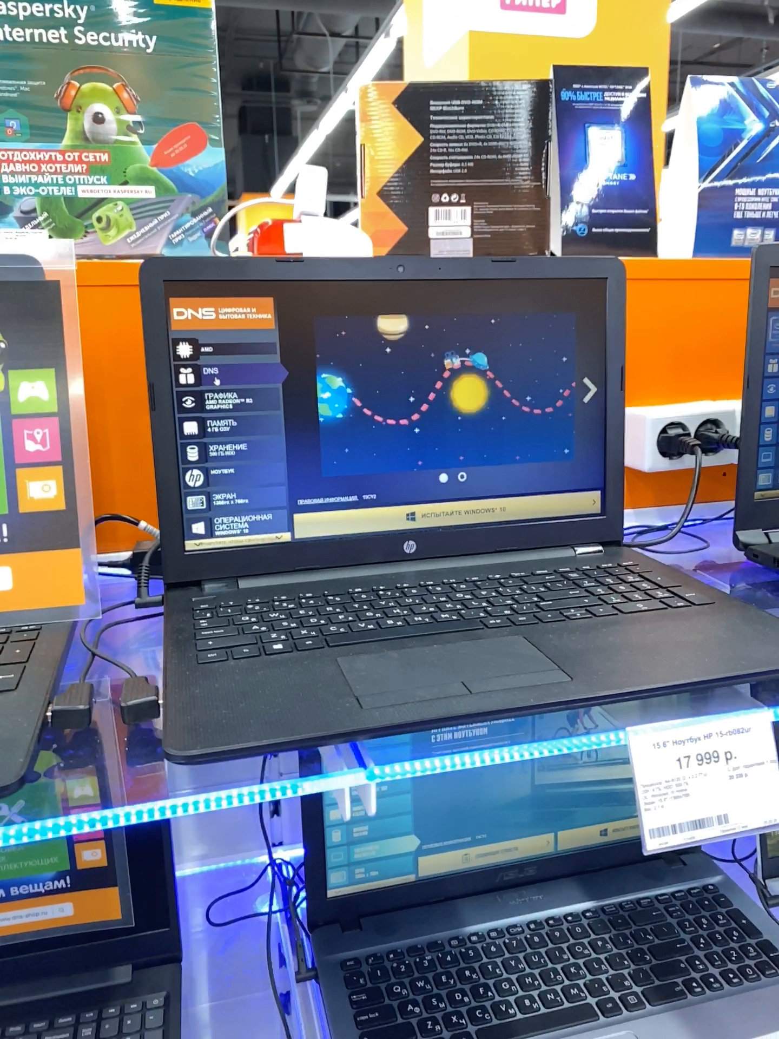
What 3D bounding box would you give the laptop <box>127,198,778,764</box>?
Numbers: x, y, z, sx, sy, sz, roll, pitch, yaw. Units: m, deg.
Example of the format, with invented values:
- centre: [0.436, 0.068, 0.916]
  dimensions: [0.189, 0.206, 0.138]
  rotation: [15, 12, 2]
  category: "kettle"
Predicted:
- centre: [0.046, -0.050, 0.499]
  dimensions: [0.369, 0.231, 0.272]
  rotation: [-4, 13, -15]
  category: "laptop"
